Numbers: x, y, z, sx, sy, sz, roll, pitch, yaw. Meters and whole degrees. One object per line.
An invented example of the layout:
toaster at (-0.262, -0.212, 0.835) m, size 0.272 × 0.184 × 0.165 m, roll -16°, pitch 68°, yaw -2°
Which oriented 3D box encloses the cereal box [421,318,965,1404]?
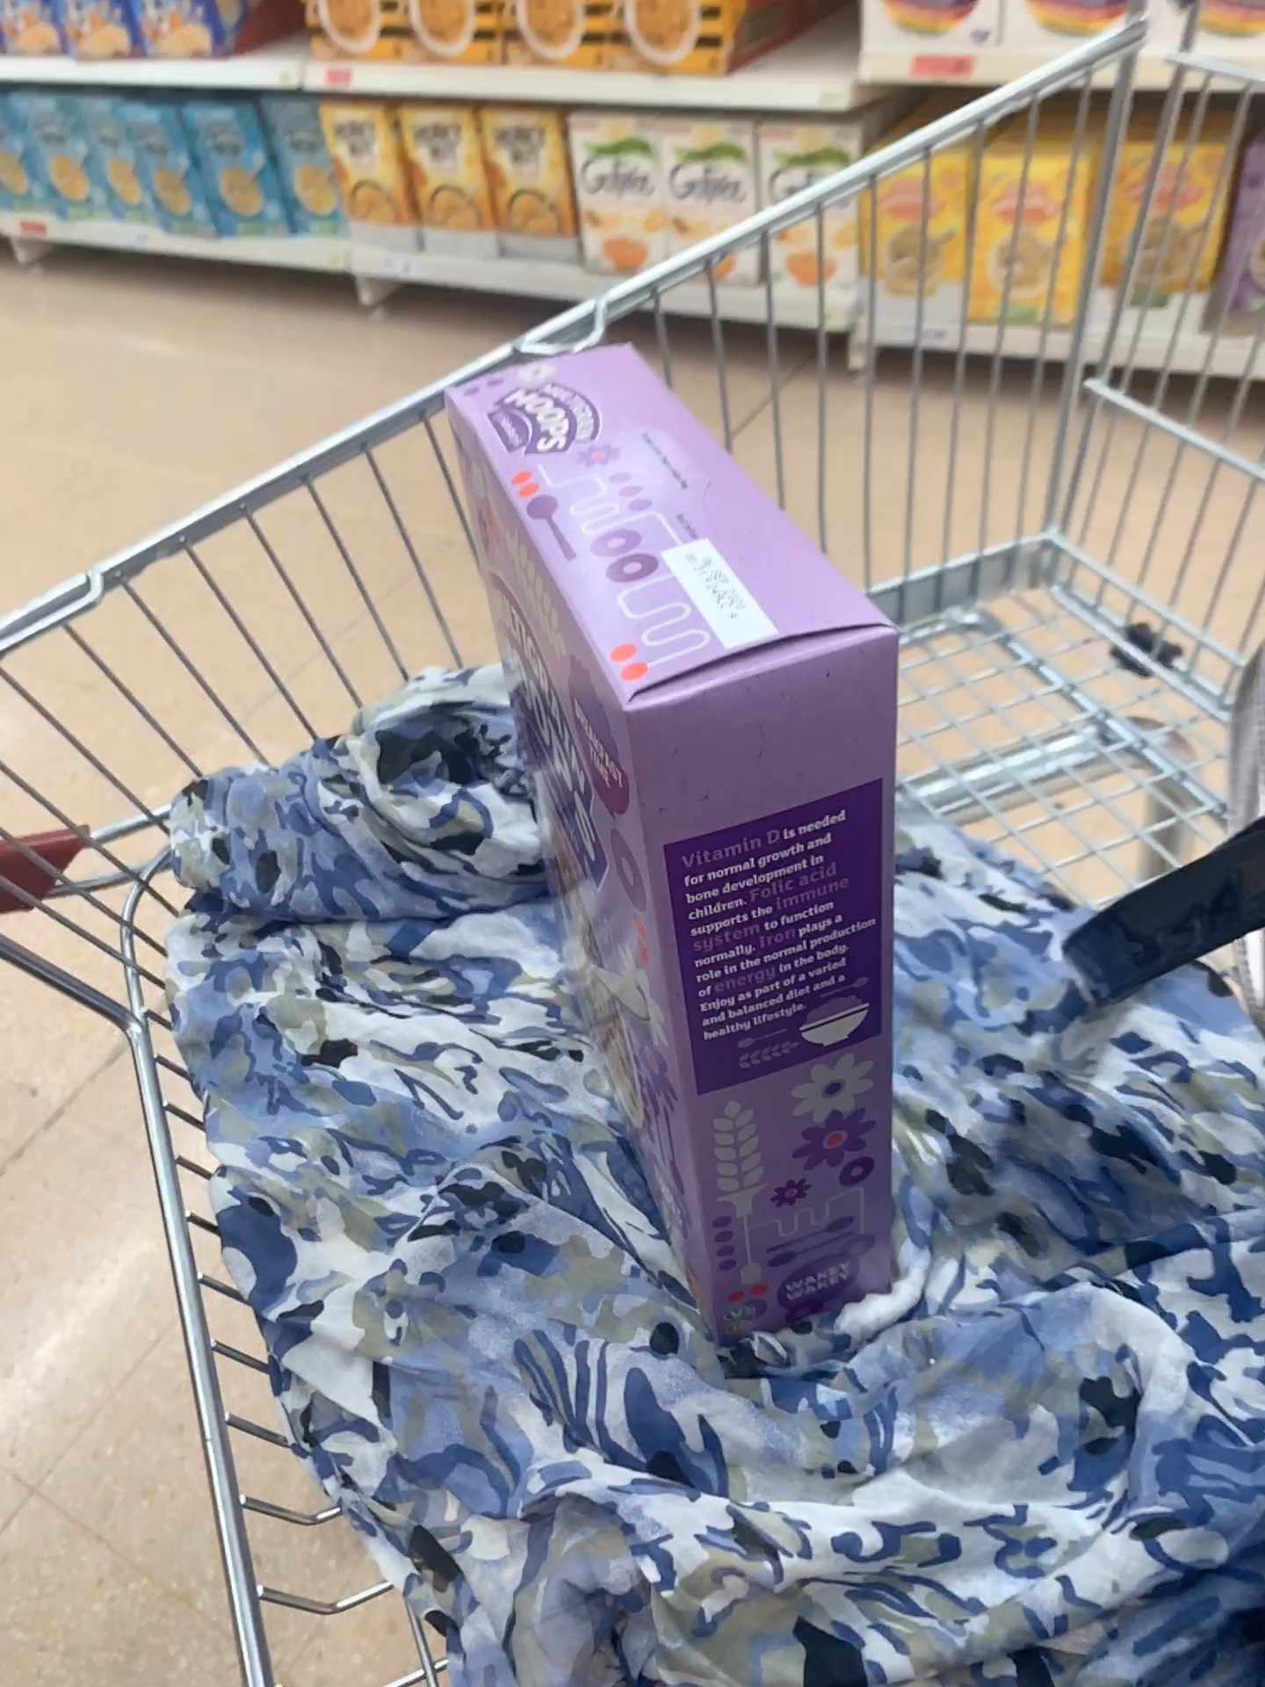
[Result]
cereal box at (0.015, 0.007, 0.419) m, size 0.070 × 0.267 × 0.212 m, roll -16°, pitch 42°, yaw -10°
